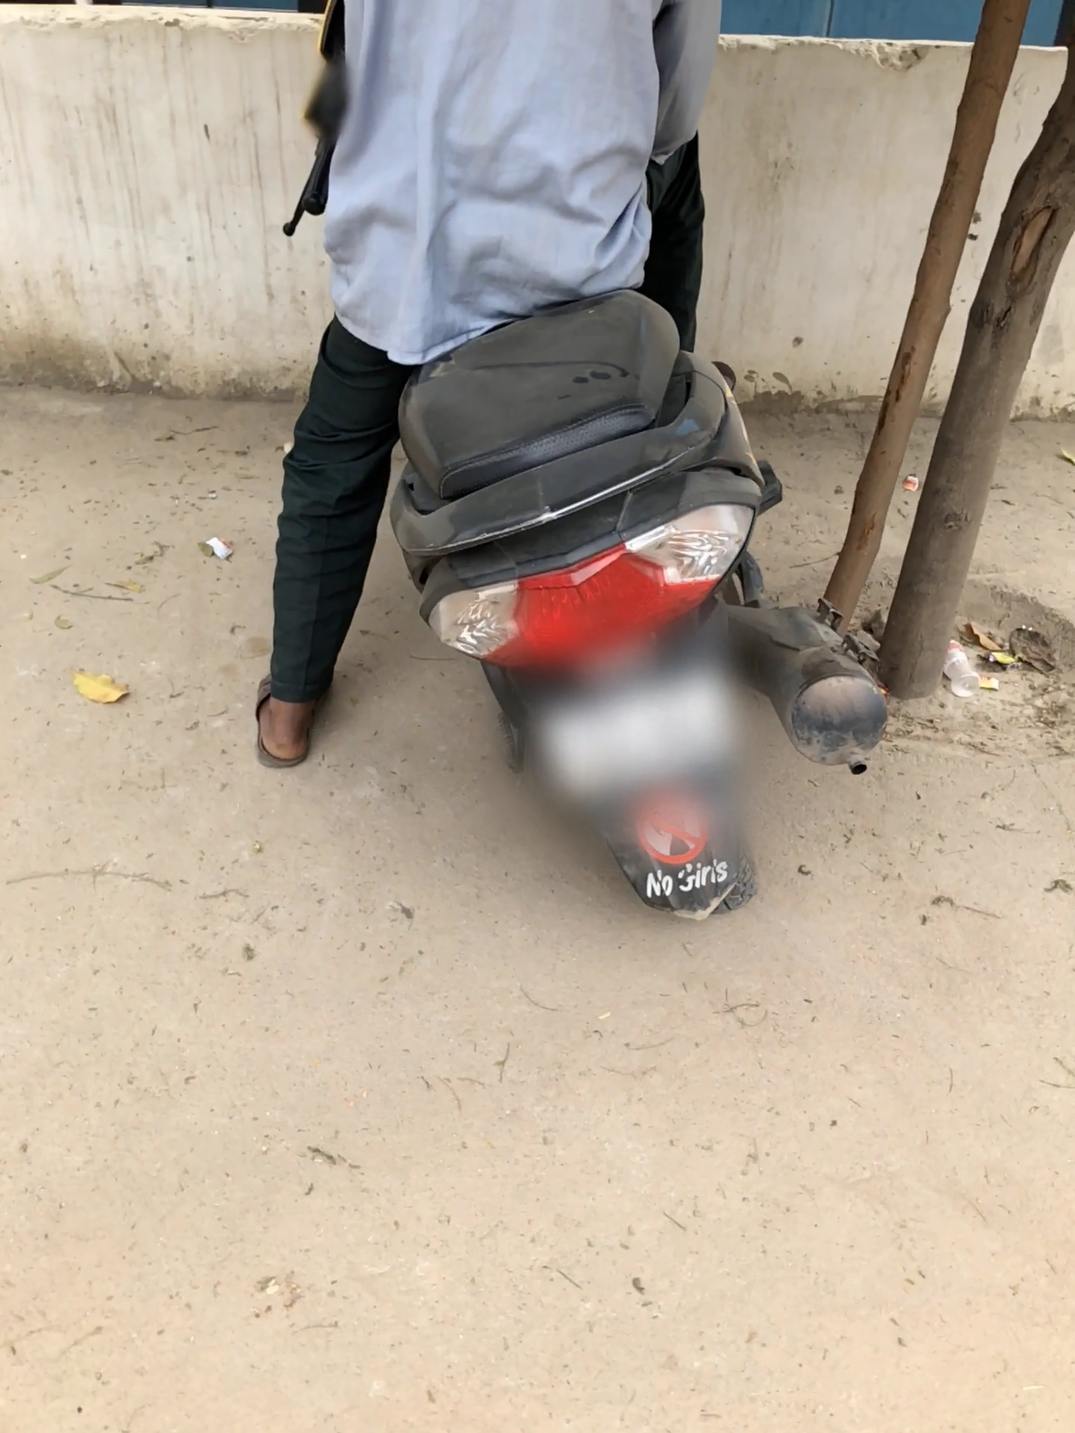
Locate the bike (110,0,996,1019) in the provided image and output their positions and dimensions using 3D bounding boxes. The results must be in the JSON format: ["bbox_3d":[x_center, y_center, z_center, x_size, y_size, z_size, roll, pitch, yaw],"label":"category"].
[{"bbox_3d":[-0.141,-0.624,1.751,0.634,1.144,1.579,-5,38,-10],"label":"bike"}]
